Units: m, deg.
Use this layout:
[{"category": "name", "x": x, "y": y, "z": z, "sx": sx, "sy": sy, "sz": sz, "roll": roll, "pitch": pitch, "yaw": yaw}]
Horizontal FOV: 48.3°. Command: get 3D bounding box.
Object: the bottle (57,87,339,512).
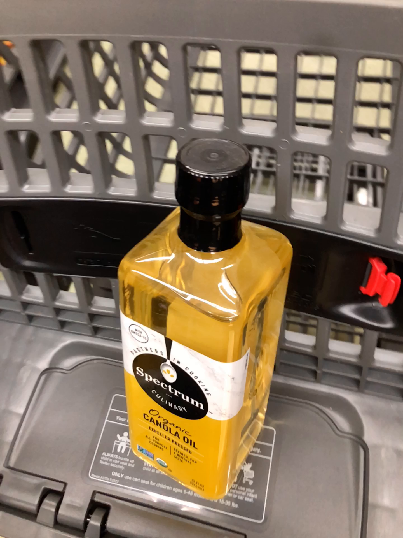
[{"category": "bottle", "x": -0.001, "y": 0.036, "z": 0.280, "sx": 0.090, "sy": 0.250, "sz": 0.090, "roll": 1, "pitch": 42, "yaw": -1}]
